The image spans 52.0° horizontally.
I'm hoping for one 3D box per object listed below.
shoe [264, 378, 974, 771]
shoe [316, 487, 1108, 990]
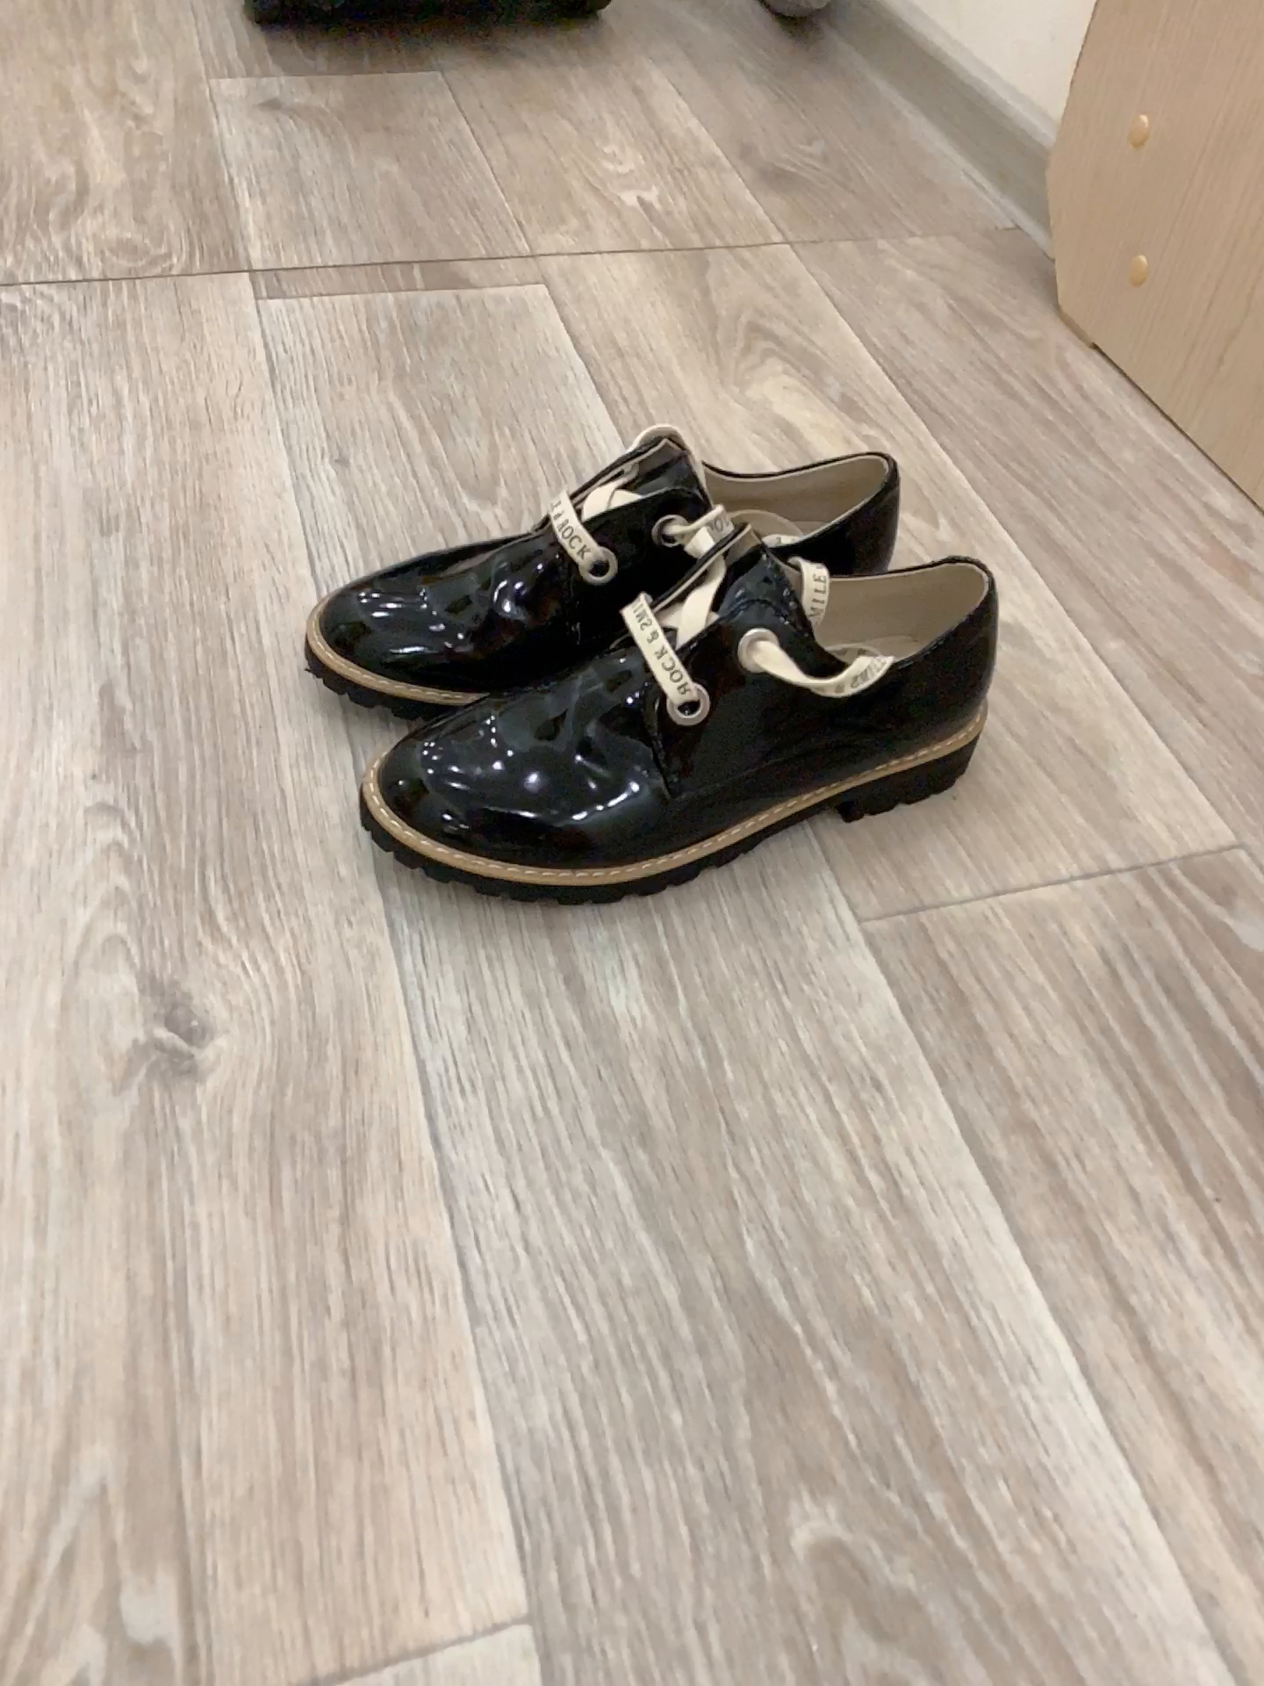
[{"bbox_3d":[-0.009,-0.119,0.559,0.270,0.100,0.100,-9,51,-13],"label":"shoe"},{"bbox_3d":[0.028,-0.047,0.505,0.270,0.100,0.100,-14,52,-17],"label":"shoe"}]
